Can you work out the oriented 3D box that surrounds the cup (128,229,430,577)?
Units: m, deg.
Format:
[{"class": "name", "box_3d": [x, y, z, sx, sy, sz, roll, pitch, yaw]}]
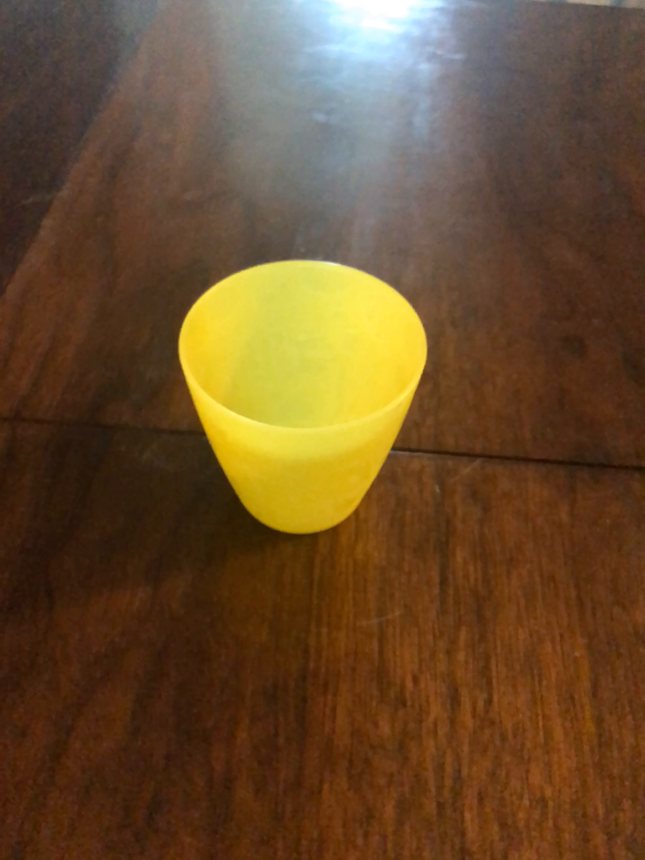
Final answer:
[{"class": "cup", "box_3d": [-0.010, -0.009, 0.254, 0.080, 0.080, 0.080, 1, 50, -1]}]
